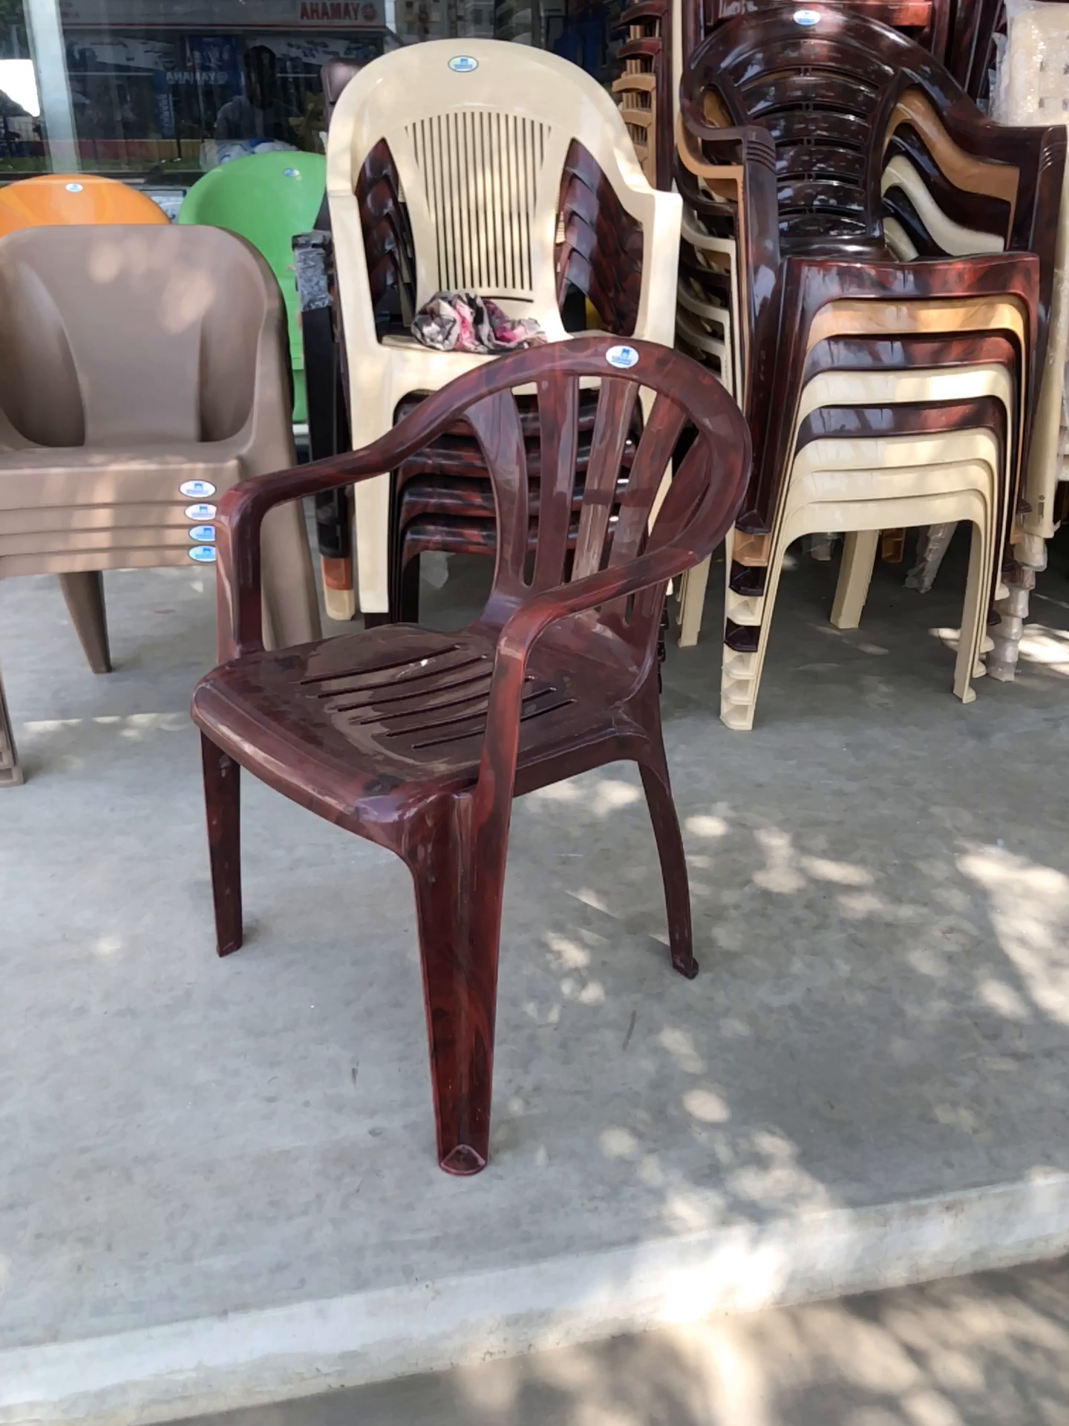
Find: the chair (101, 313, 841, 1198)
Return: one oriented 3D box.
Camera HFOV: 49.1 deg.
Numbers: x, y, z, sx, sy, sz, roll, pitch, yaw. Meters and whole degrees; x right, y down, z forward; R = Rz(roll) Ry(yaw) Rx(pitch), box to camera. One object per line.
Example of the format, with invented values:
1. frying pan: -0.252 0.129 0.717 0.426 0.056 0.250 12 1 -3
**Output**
1. chair: -0.076 -0.021 1.384 0.522 0.766 0.581 -22 33 -38
